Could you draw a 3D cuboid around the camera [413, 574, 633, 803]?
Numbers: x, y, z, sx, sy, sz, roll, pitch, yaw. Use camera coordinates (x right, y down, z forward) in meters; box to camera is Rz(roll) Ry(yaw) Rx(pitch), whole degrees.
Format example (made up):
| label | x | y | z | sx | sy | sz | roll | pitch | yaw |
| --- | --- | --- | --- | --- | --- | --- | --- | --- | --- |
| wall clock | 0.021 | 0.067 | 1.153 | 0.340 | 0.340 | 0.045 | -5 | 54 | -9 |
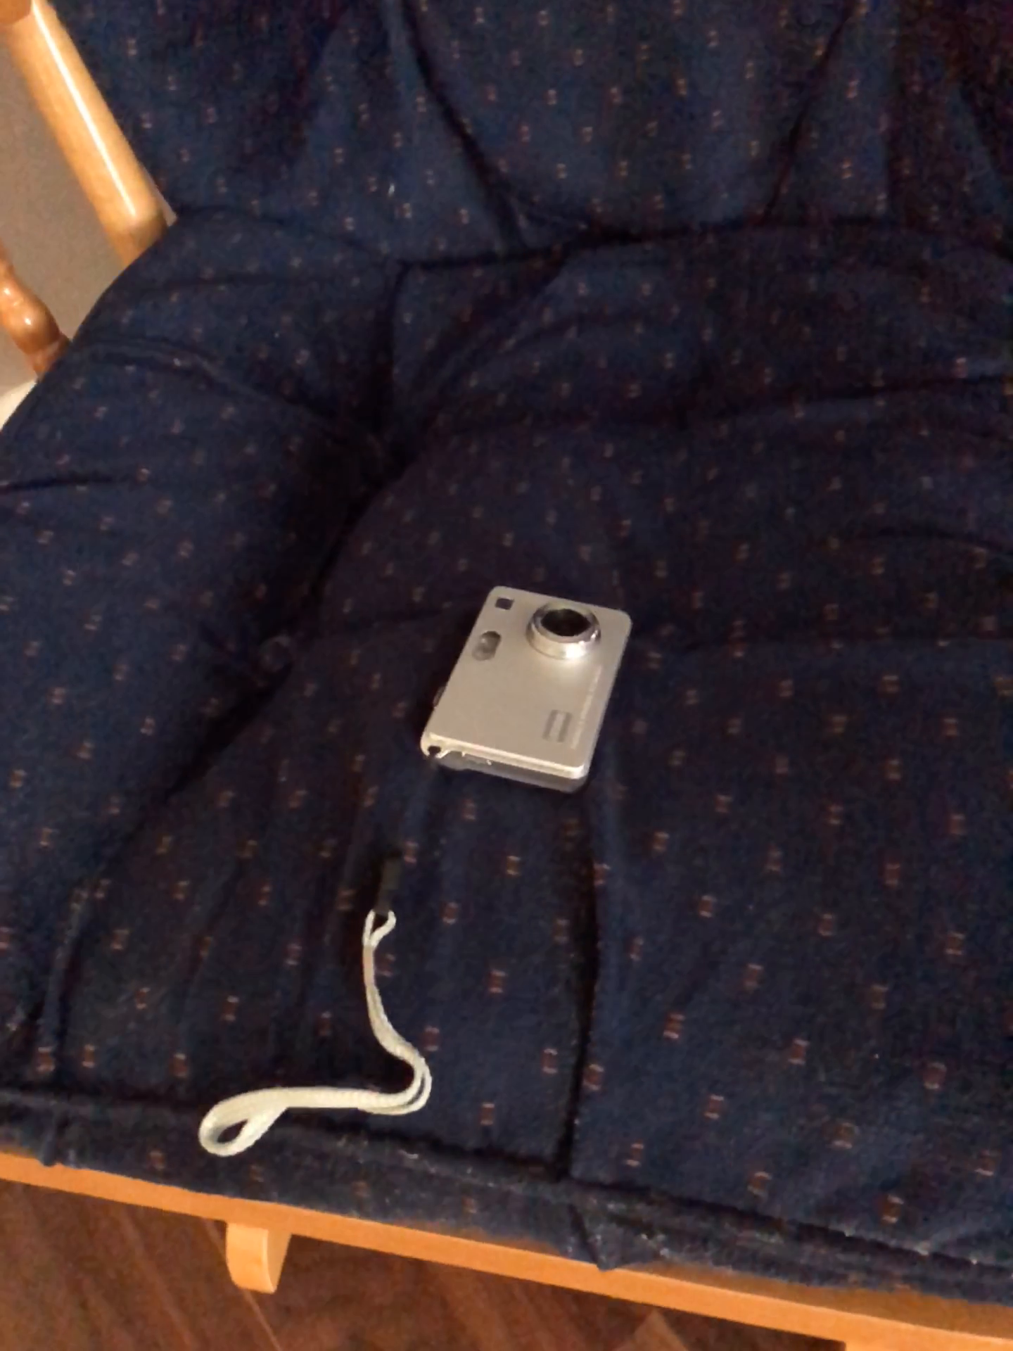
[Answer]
| label | x | y | z | sx | sy | sz | roll | pitch | yaw |
| --- | --- | --- | --- | --- | --- | --- | --- | --- | --- |
| camera | 0.008 | 0.002 | 0.400 | 0.058 | 0.018 | 0.085 | 12 | 45 | 10 |
